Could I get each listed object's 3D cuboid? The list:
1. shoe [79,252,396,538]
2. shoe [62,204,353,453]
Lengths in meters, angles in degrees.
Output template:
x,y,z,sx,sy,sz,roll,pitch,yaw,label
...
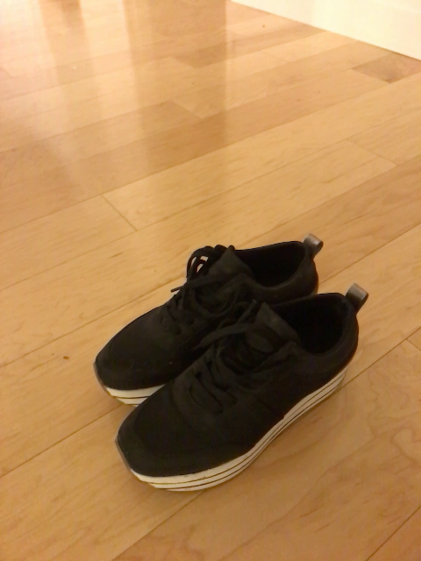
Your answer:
x,y,z,sx,sy,sz,roll,pitch,yaw,label
0.036,0.098,0.470,0.291,0.099,0.120,-28,49,-25,shoe
0.007,0.038,0.517,0.291,0.109,0.120,-28,49,-25,shoe
